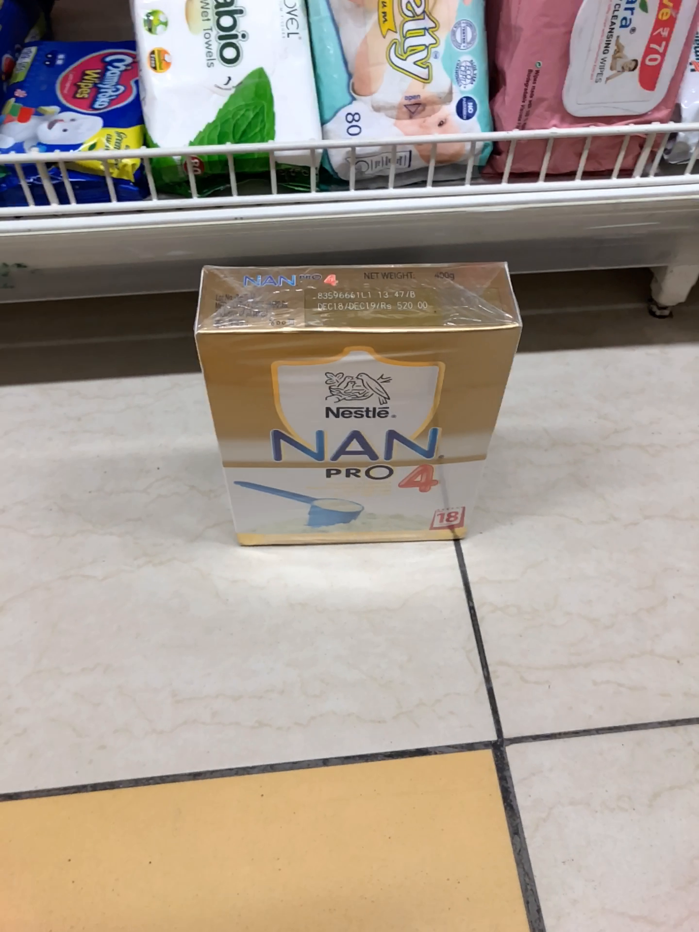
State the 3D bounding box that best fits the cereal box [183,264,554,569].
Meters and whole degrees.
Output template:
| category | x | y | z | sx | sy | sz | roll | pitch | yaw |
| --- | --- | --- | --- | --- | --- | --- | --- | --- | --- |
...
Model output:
| category | x | y | z | sx | sy | sz | roll | pitch | yaw |
| --- | --- | --- | --- | --- | --- | --- | --- | --- | --- |
| cereal box | 0.006 | -0.016 | 0.424 | 0.160 | 0.189 | 0.050 | -2 | 53 | -3 |
